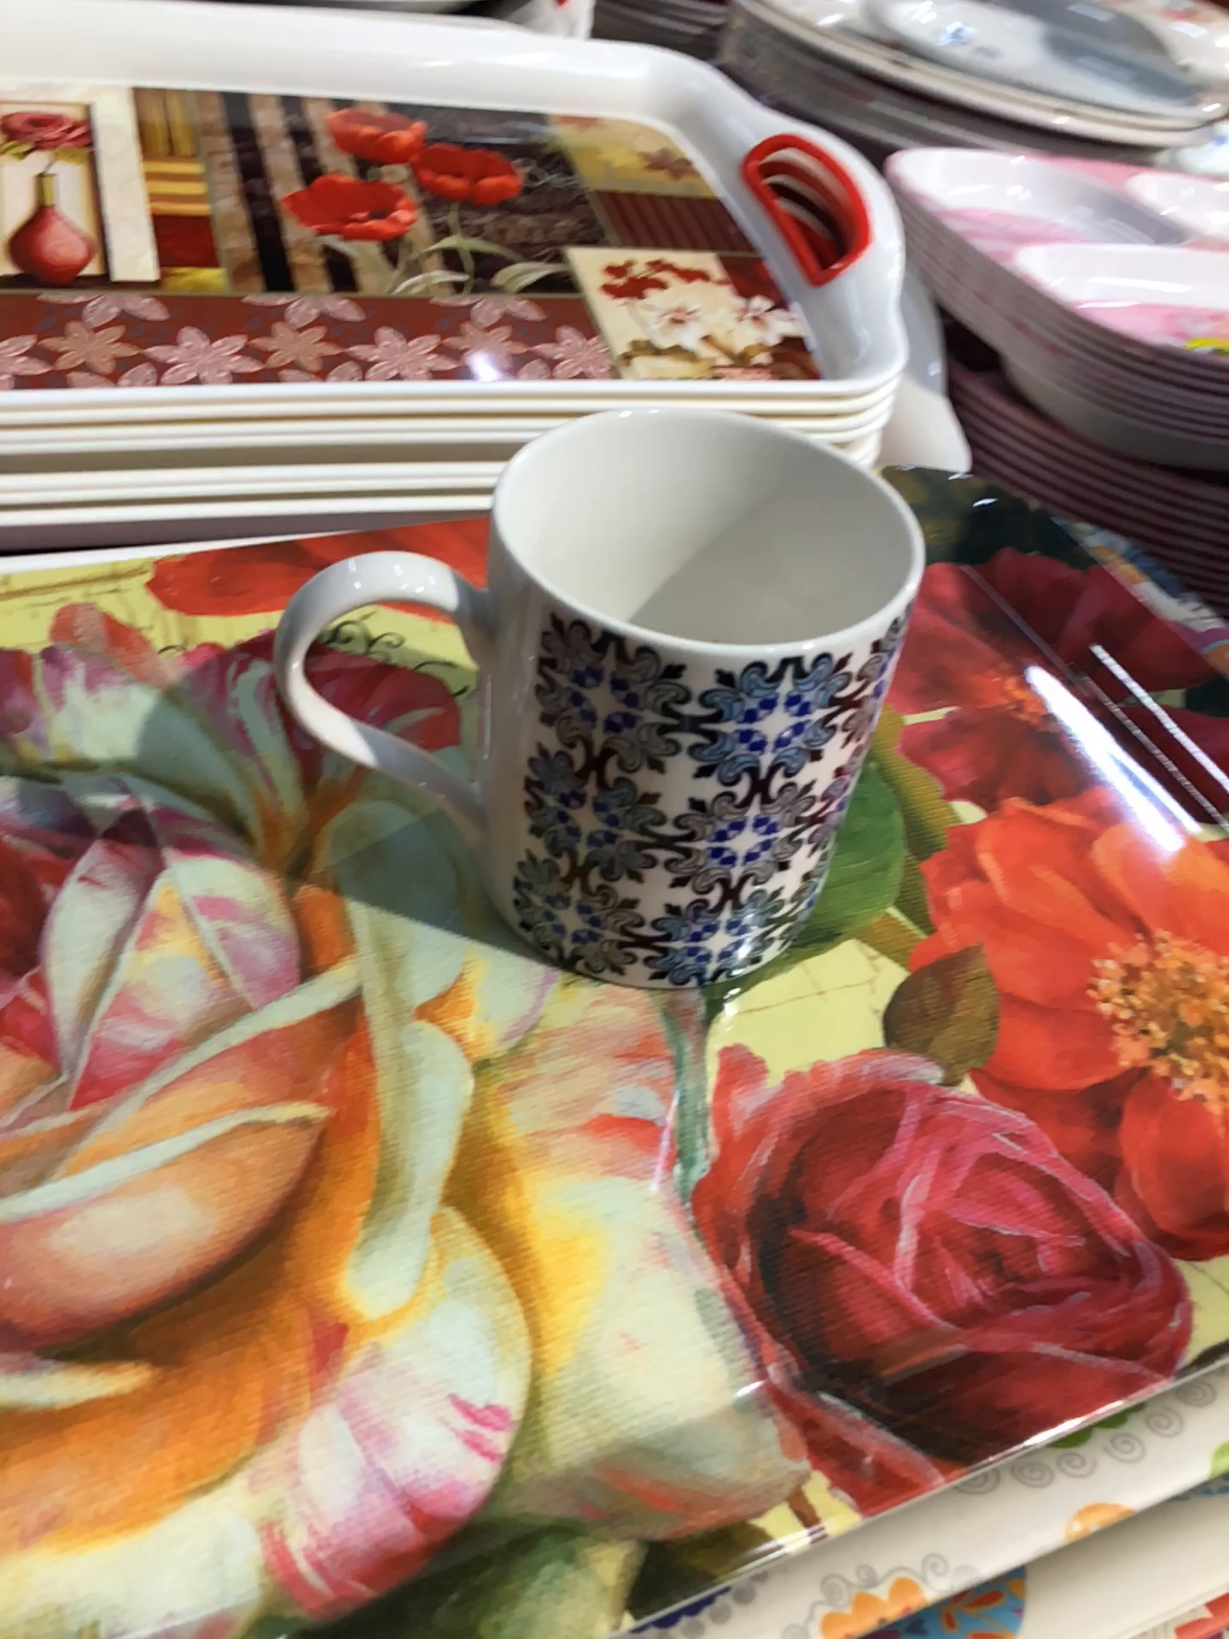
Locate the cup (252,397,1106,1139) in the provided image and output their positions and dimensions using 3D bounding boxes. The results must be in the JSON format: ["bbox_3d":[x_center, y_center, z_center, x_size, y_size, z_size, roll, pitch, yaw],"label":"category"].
[{"bbox_3d":[0.003,-0.016,0.276,0.130,0.099,0.090,-9,44,-20],"label":"cup"}]
